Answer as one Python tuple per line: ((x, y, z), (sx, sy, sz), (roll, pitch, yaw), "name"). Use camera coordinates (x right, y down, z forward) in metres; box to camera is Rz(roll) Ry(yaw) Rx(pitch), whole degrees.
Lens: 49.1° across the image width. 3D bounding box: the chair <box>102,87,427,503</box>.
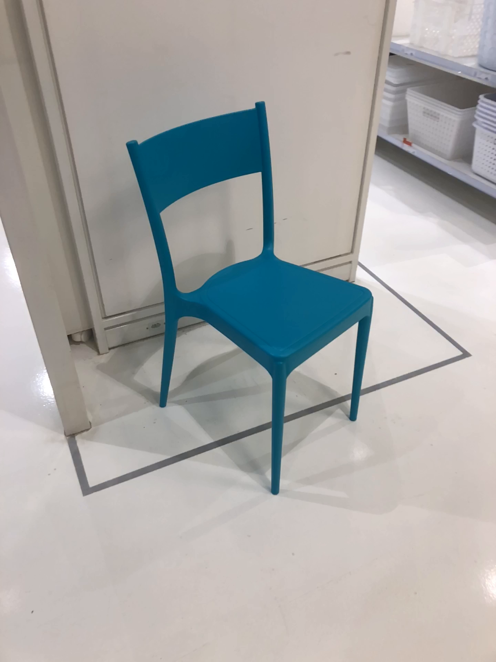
((0.027, -0.097, 1.357), (0.512, 0.793, 0.432), (31, 48, 33), "chair")
